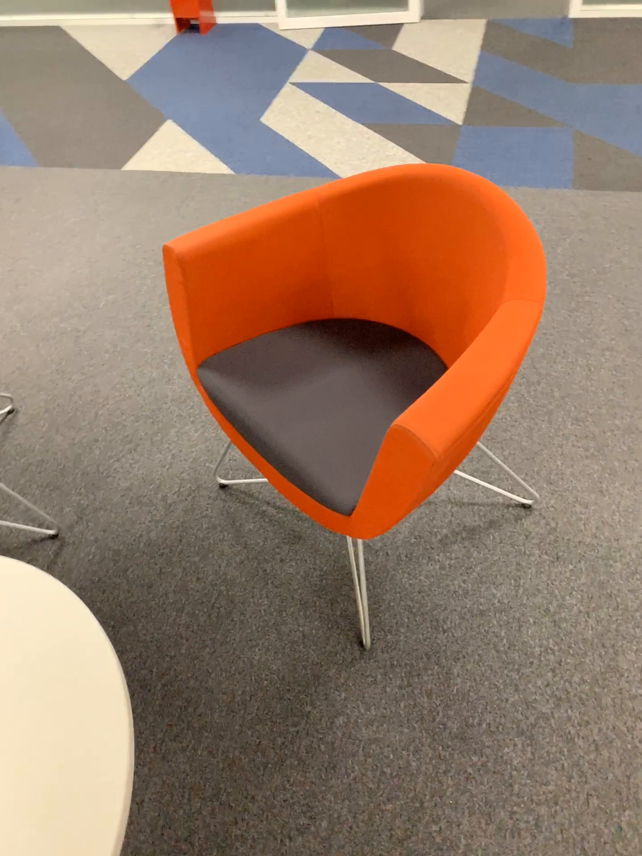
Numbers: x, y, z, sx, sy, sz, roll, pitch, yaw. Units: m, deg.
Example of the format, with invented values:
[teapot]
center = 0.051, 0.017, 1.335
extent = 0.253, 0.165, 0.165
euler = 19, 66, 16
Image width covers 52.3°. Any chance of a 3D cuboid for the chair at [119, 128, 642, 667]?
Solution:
[chair]
center = 0.104, -0.081, 1.374
extent = 0.621, 0.707, 0.642
euler = -33, 52, -22
